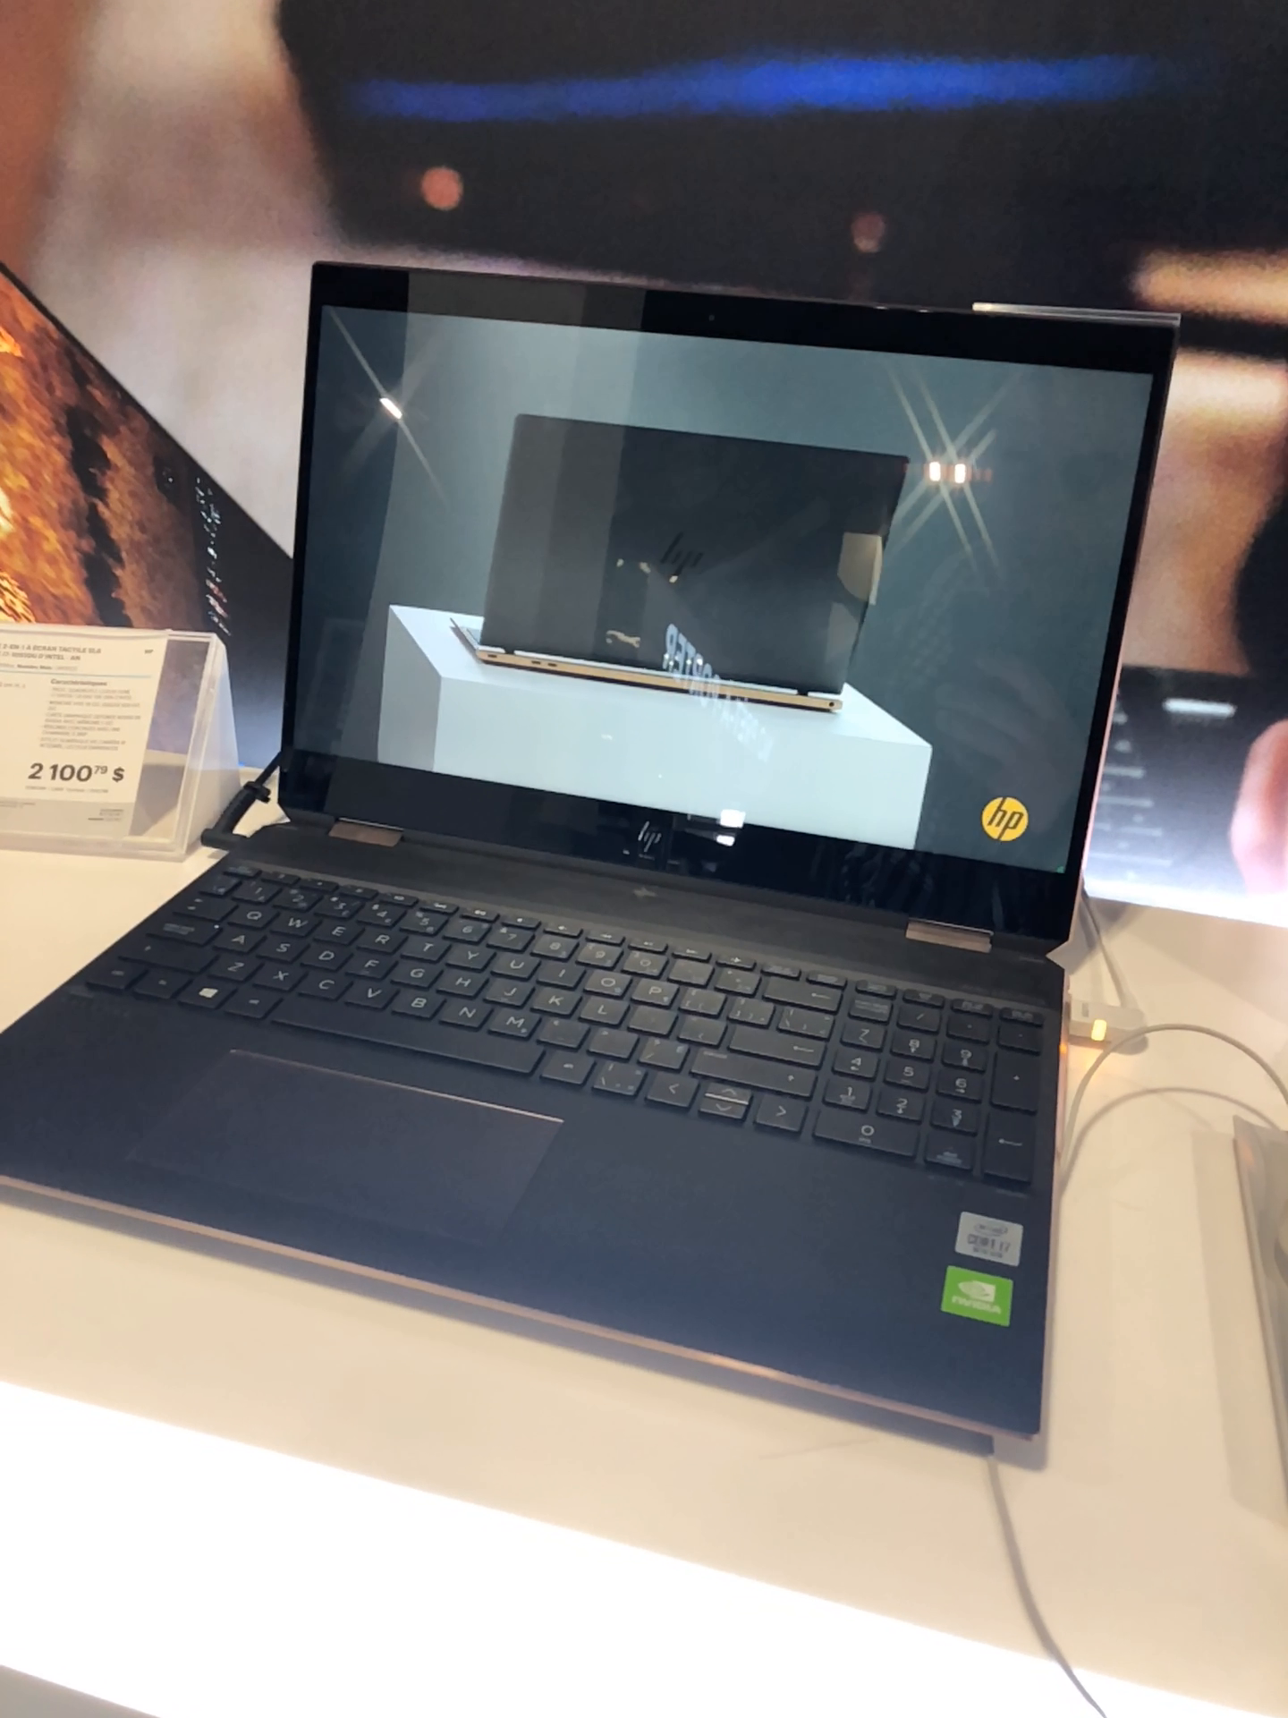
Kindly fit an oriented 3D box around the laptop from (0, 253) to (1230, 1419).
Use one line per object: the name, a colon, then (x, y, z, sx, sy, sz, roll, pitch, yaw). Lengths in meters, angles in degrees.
laptop: (-0.021, -0.058, 0.472, 0.333, 0.226, 0.323, 10, 26, 11)
